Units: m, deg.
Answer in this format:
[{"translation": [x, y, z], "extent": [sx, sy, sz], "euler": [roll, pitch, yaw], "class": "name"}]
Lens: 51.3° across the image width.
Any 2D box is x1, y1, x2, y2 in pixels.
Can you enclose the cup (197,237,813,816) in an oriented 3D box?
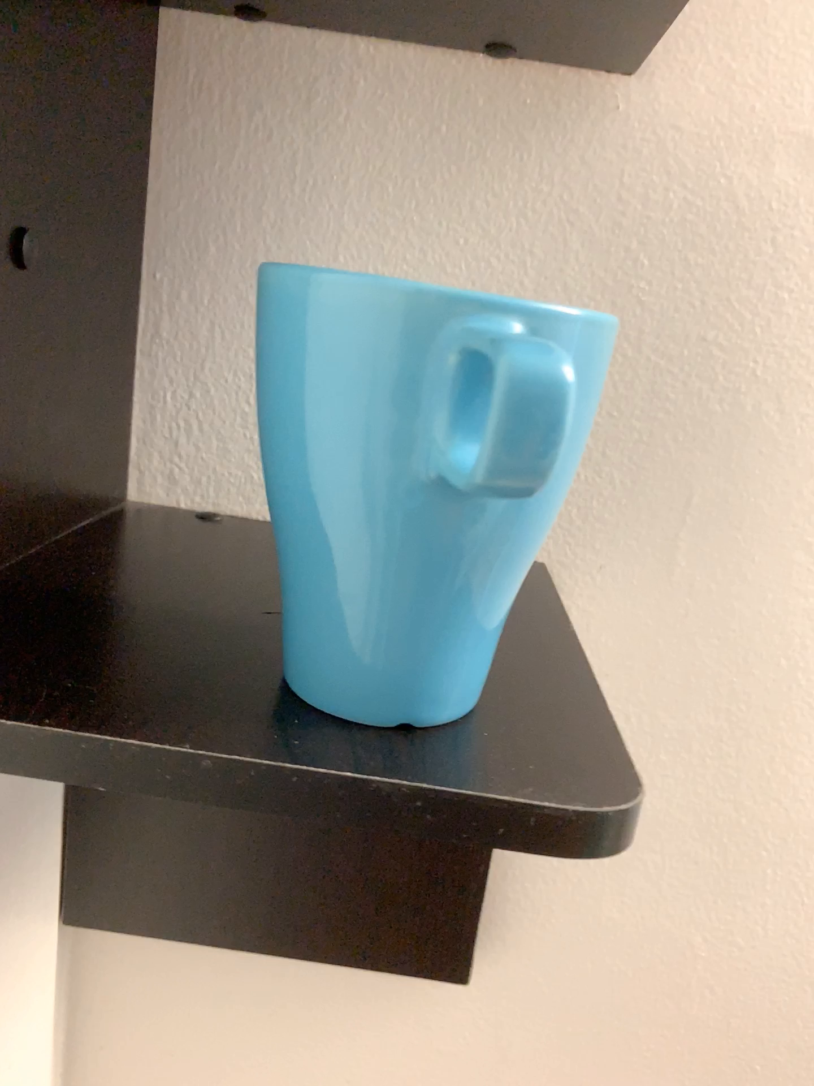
[{"translation": [0.011, -0.013, 0.195], "extent": [0.090, 0.090, 0.110], "euler": [2, 15, -25], "class": "cup"}]
